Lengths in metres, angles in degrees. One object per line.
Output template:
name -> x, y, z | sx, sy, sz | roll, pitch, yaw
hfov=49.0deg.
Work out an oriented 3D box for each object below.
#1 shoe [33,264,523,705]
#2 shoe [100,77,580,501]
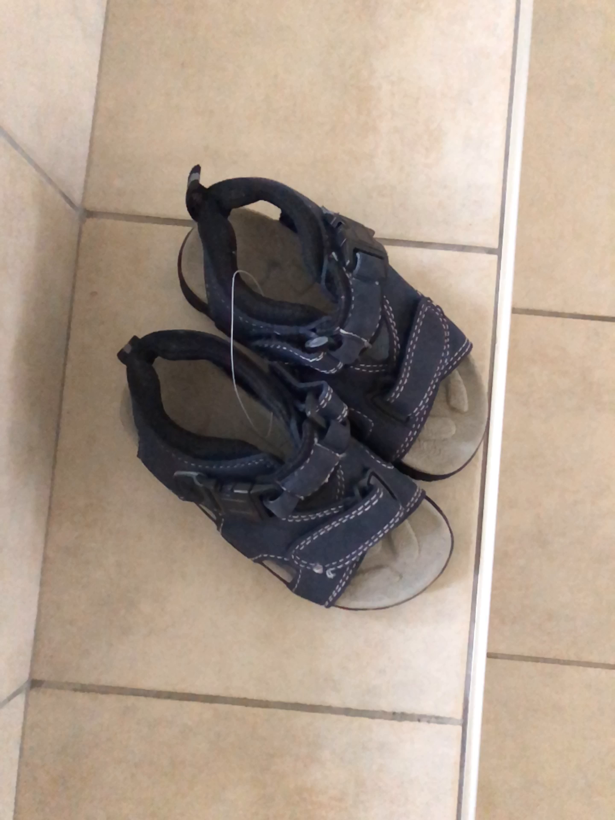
shoe -> -0.015, 0.038, 0.381 | 0.230, 0.090, 0.100 | 37, 86, 2
shoe -> 0.016, -0.061, 0.388 | 0.230, 0.090, 0.100 | 37, 86, 2
